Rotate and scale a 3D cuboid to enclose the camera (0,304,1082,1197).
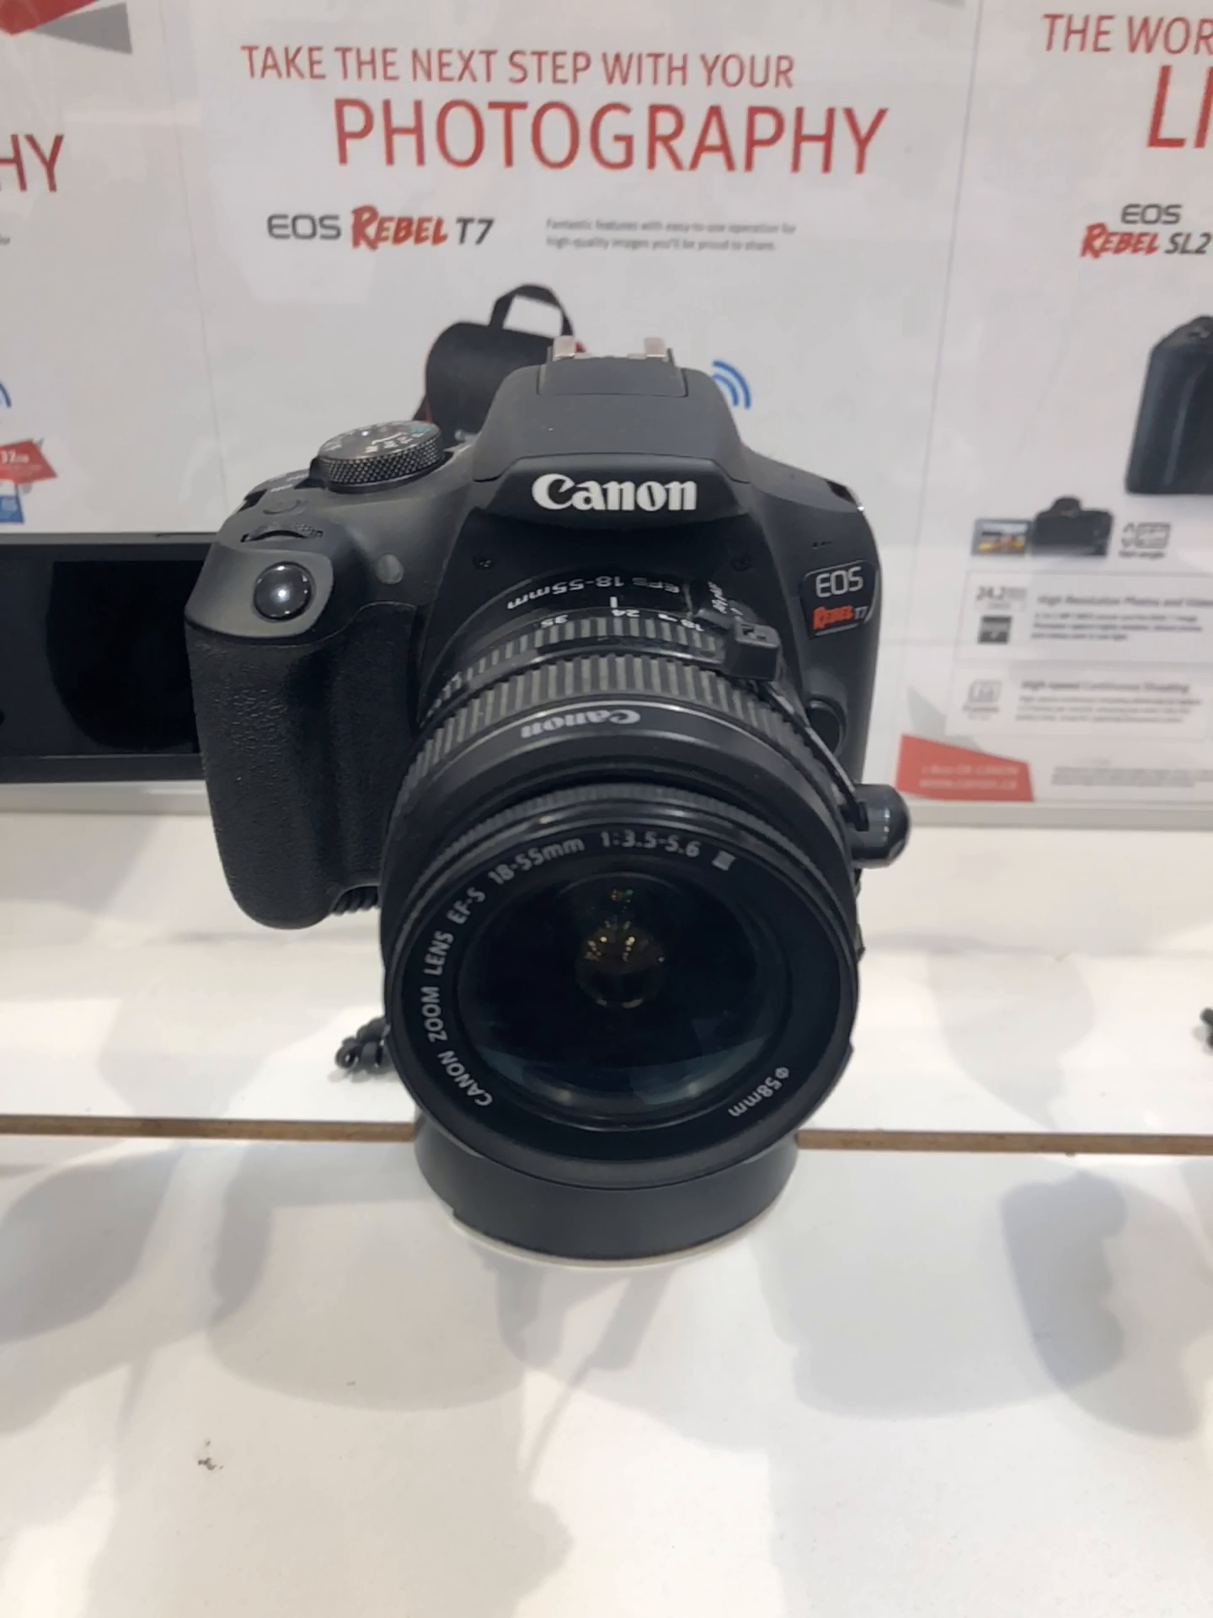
[{"bbox_3d":[-0.009,-0.023,0.238,0.130,0.099,0.141,2,30,2],"label":"camera"}]
